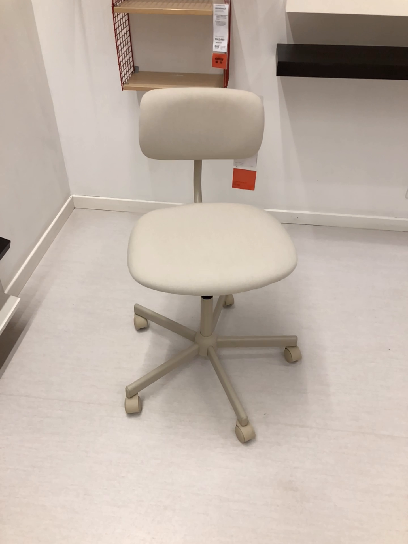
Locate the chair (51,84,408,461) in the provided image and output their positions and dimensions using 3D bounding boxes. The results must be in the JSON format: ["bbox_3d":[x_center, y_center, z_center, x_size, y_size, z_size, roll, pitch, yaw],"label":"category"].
[{"bbox_3d":[0.025,-0.020,1.273,0.640,0.765,0.695,-4,40,-5],"label":"chair"}]
